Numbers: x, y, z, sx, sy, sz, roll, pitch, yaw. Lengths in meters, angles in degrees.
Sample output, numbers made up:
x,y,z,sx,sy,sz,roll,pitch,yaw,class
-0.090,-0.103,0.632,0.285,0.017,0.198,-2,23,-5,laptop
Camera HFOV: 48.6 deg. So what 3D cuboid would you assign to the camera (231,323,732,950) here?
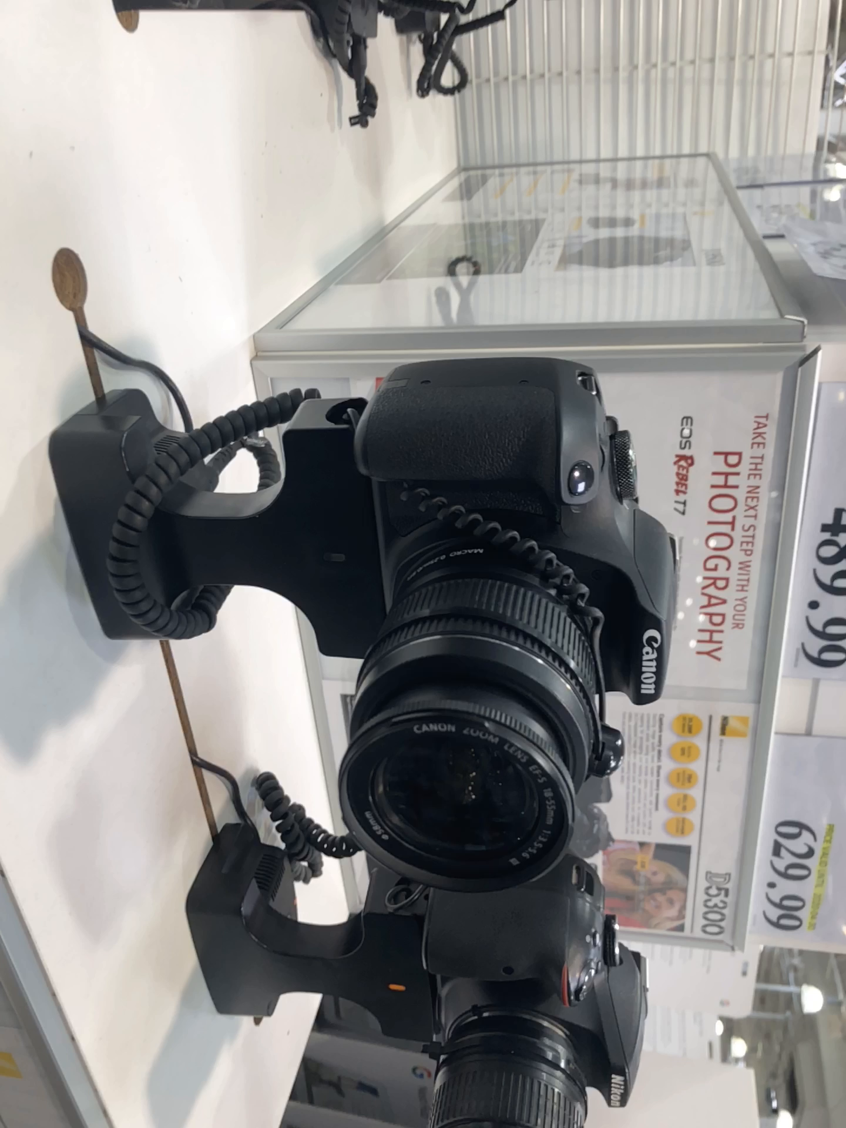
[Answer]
x,y,z,sx,sy,sz,roll,pitch,yaw,class
0.029,0.012,0.301,0.150,0.110,0.130,-72,161,-55,camera
